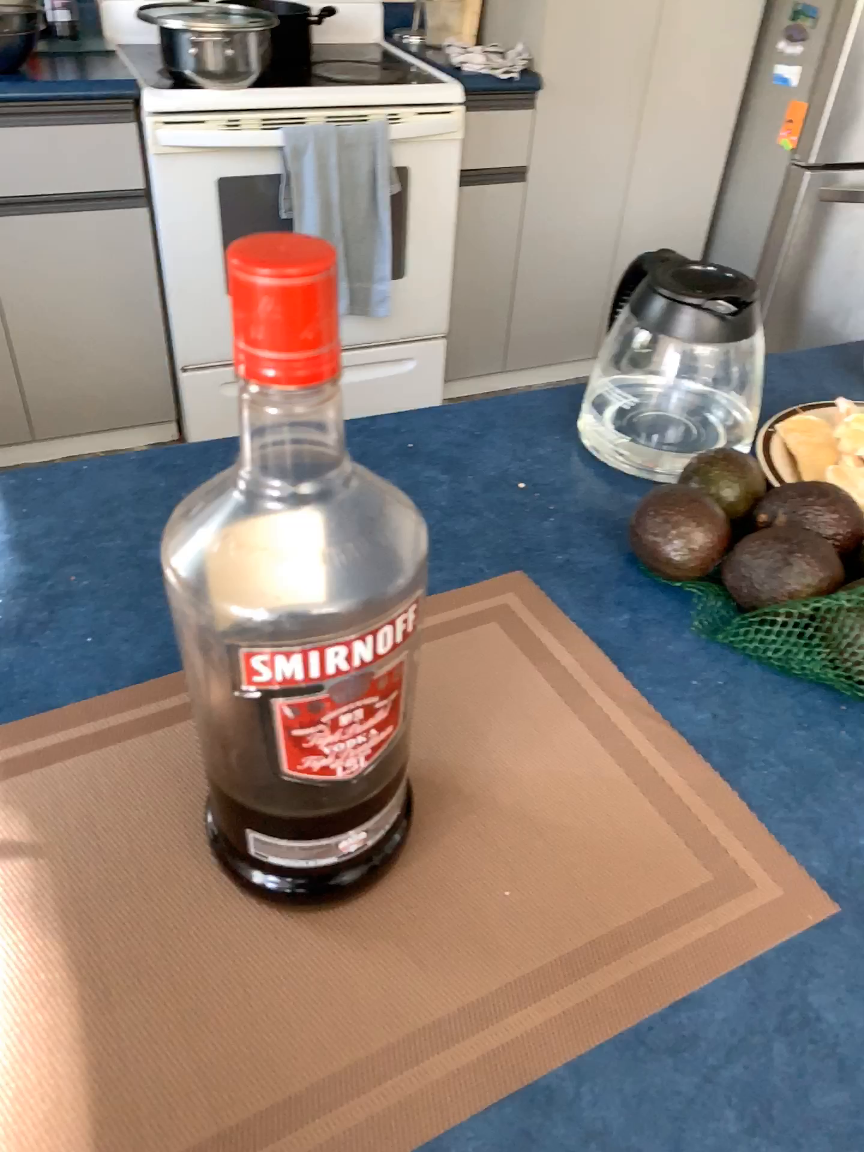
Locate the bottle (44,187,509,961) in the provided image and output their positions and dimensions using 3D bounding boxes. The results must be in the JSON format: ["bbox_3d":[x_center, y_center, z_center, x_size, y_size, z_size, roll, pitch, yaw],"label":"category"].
[{"bbox_3d":[-0.064,0.016,0.387,0.120,0.317,0.111,3,39,-2],"label":"bottle"}]
